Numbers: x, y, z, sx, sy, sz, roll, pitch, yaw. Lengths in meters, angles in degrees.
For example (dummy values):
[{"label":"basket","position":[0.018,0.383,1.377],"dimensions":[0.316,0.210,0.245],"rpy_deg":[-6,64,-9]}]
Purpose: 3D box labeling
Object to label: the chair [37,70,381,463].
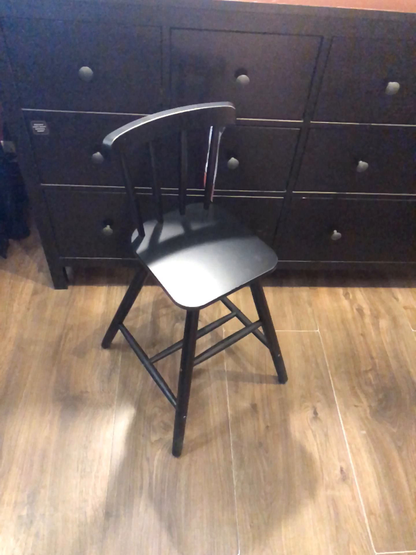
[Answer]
[{"label":"chair","position":[-0.029,-0.006,1.110],"dimensions":[0.451,0.716,0.472],"rpy_deg":[-27,55,-25]}]
